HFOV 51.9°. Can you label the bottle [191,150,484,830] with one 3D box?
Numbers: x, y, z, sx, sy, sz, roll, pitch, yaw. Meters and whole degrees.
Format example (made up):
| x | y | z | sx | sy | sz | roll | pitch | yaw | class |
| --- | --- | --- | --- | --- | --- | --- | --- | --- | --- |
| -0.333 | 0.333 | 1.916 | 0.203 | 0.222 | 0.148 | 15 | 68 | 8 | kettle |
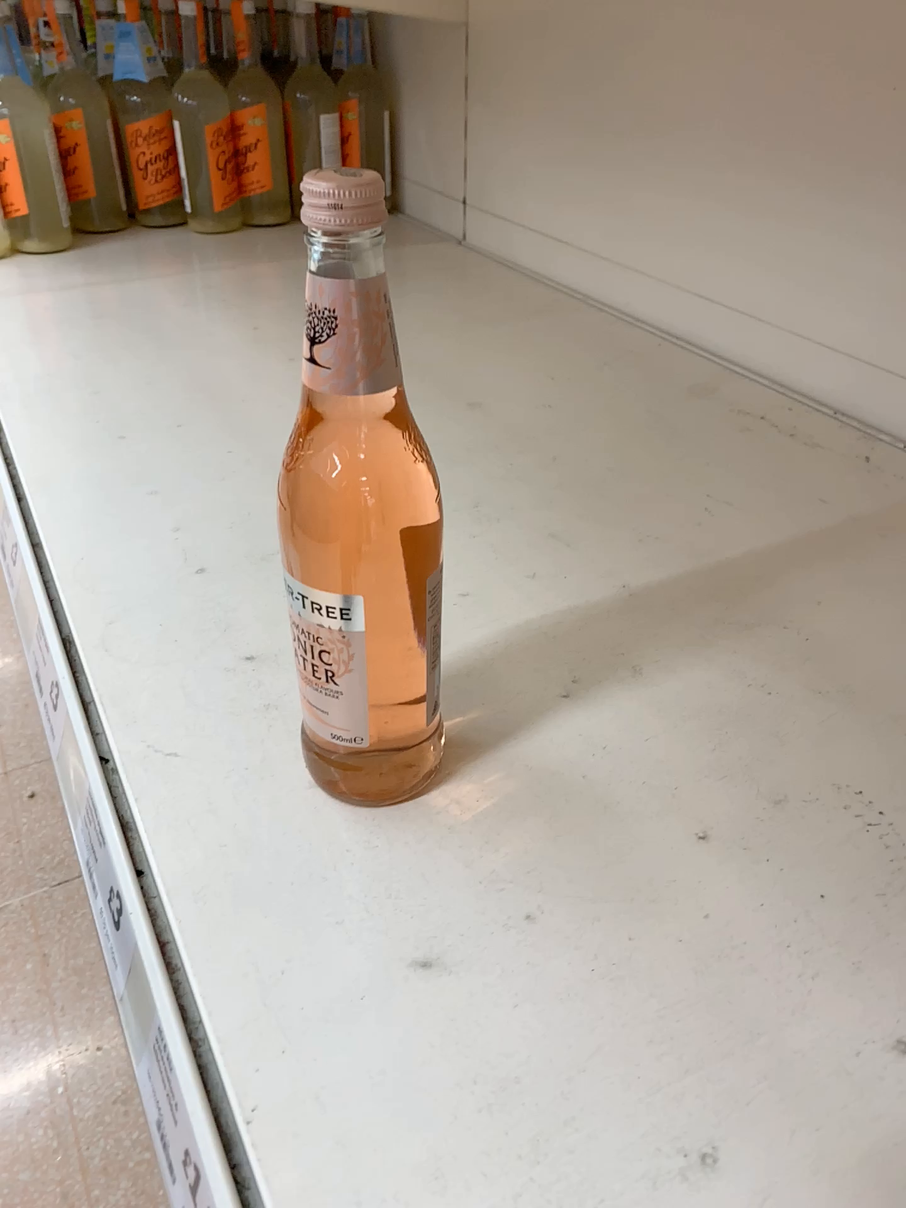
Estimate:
| x | y | z | sx | sy | sz | roll | pitch | yaw | class |
| --- | --- | --- | --- | --- | --- | --- | --- | --- | --- |
| -0.040 | -0.036 | 0.377 | 0.067 | 0.253 | 0.078 | -20 | 39 | -28 | bottle |
